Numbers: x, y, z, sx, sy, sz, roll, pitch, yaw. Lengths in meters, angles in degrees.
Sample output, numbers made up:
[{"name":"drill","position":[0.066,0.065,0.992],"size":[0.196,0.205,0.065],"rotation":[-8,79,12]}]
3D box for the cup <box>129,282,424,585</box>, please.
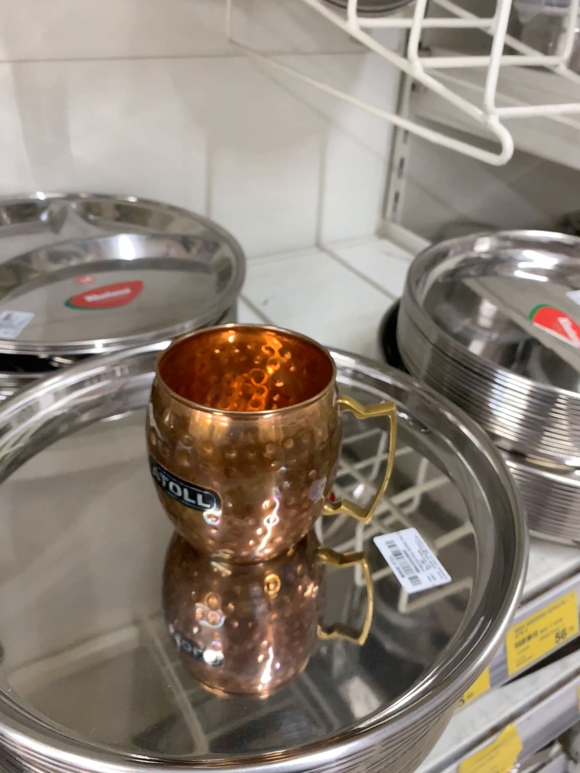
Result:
[{"name":"cup","position":[-0.001,0.018,0.286],"size":[0.110,0.090,0.090],"rotation":[9,36,8]}]
